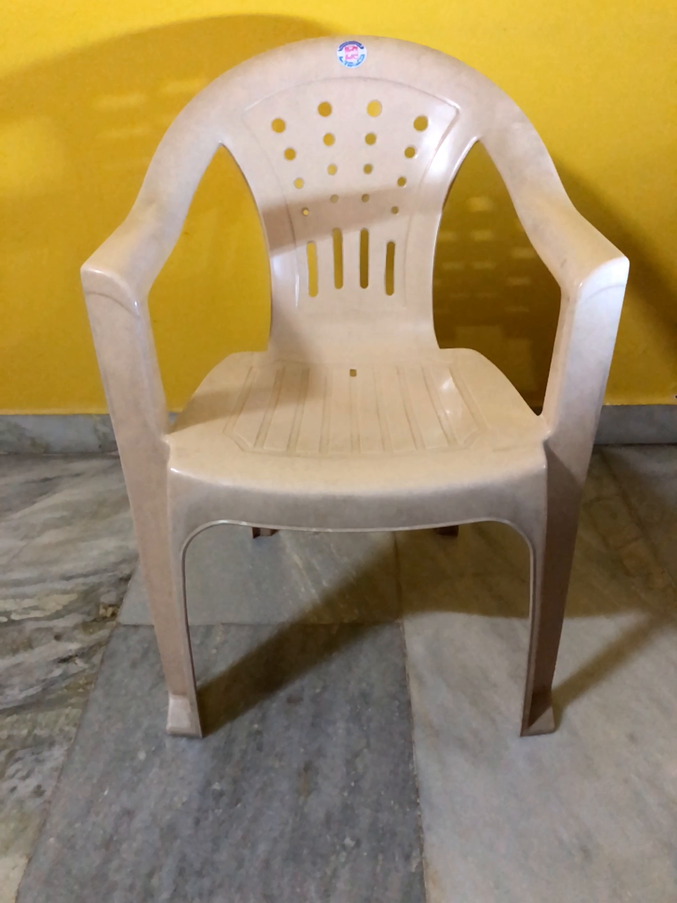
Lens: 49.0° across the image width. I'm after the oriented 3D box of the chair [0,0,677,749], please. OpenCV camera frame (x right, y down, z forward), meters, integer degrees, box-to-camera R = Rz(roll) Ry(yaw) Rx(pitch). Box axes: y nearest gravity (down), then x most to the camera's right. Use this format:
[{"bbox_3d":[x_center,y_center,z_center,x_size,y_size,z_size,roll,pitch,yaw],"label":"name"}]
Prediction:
[{"bbox_3d":[0.032,-0.118,0.959,0.530,0.785,0.564,-1,31,1],"label":"chair"}]
